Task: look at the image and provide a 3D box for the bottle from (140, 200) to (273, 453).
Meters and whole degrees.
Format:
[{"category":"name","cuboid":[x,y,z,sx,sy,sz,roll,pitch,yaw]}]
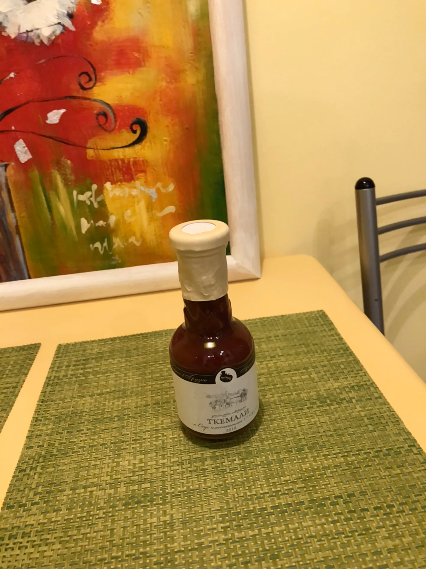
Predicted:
[{"category":"bottle","cuboid":[-0.004,0.029,0.346,0.070,0.159,0.070,-4,24,2]}]
